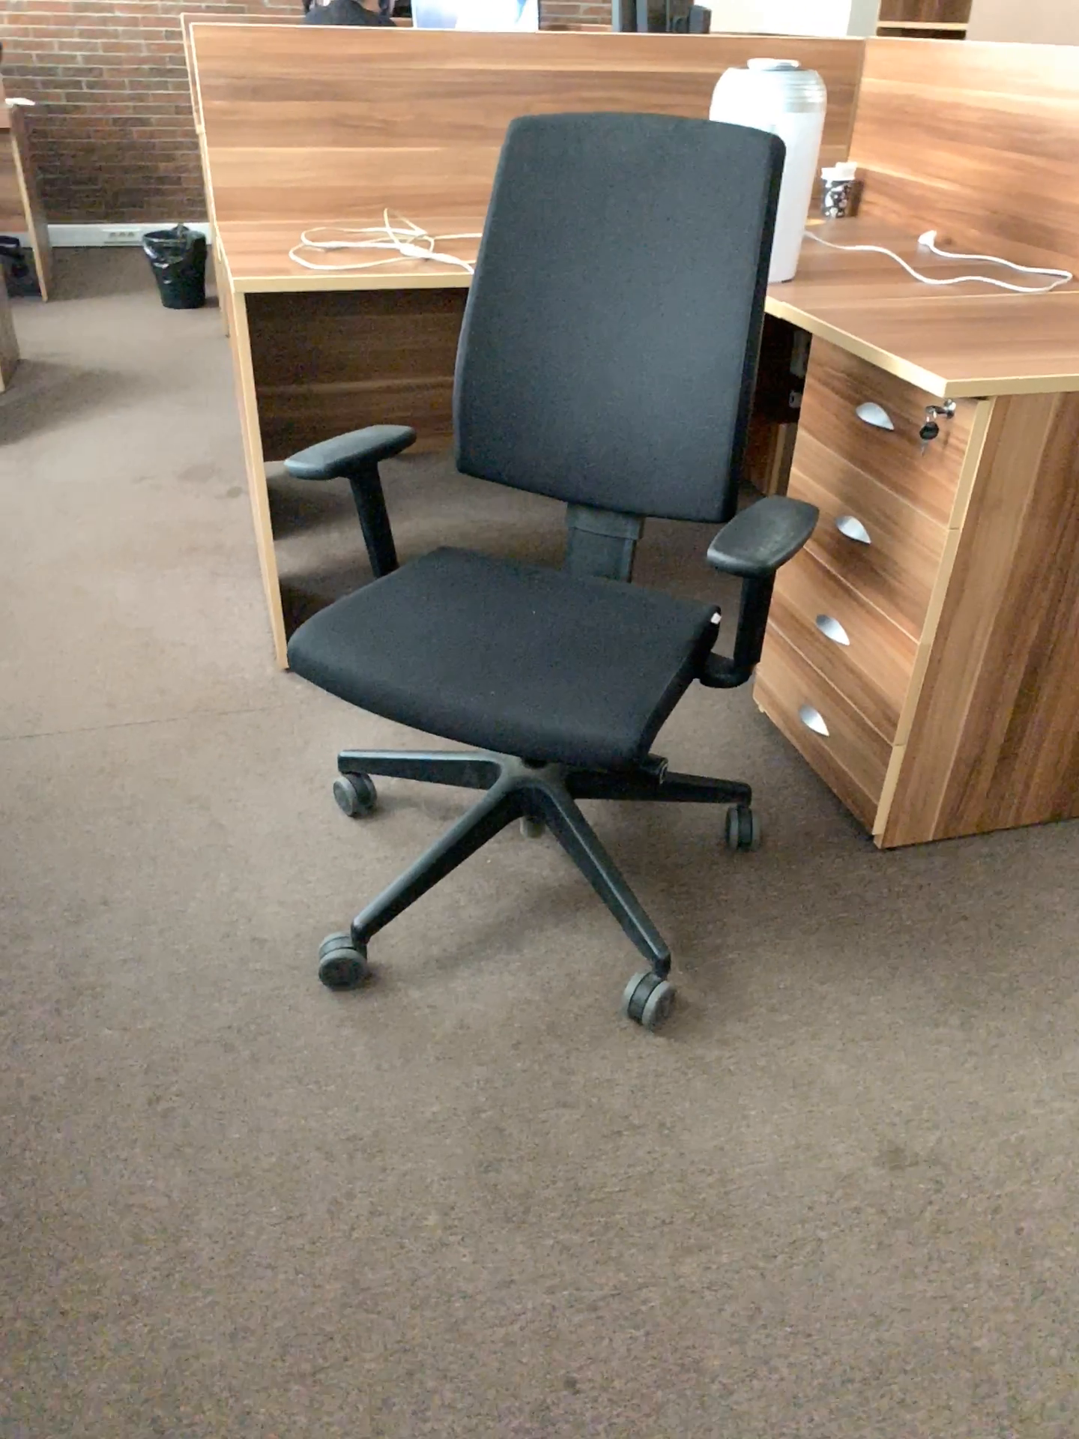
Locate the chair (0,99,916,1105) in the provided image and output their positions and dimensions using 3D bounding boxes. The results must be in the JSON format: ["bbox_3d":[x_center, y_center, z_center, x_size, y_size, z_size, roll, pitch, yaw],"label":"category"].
[{"bbox_3d":[-0.021,-0.233,1.401,0.671,0.915,0.793,15,34,21],"label":"chair"}]
